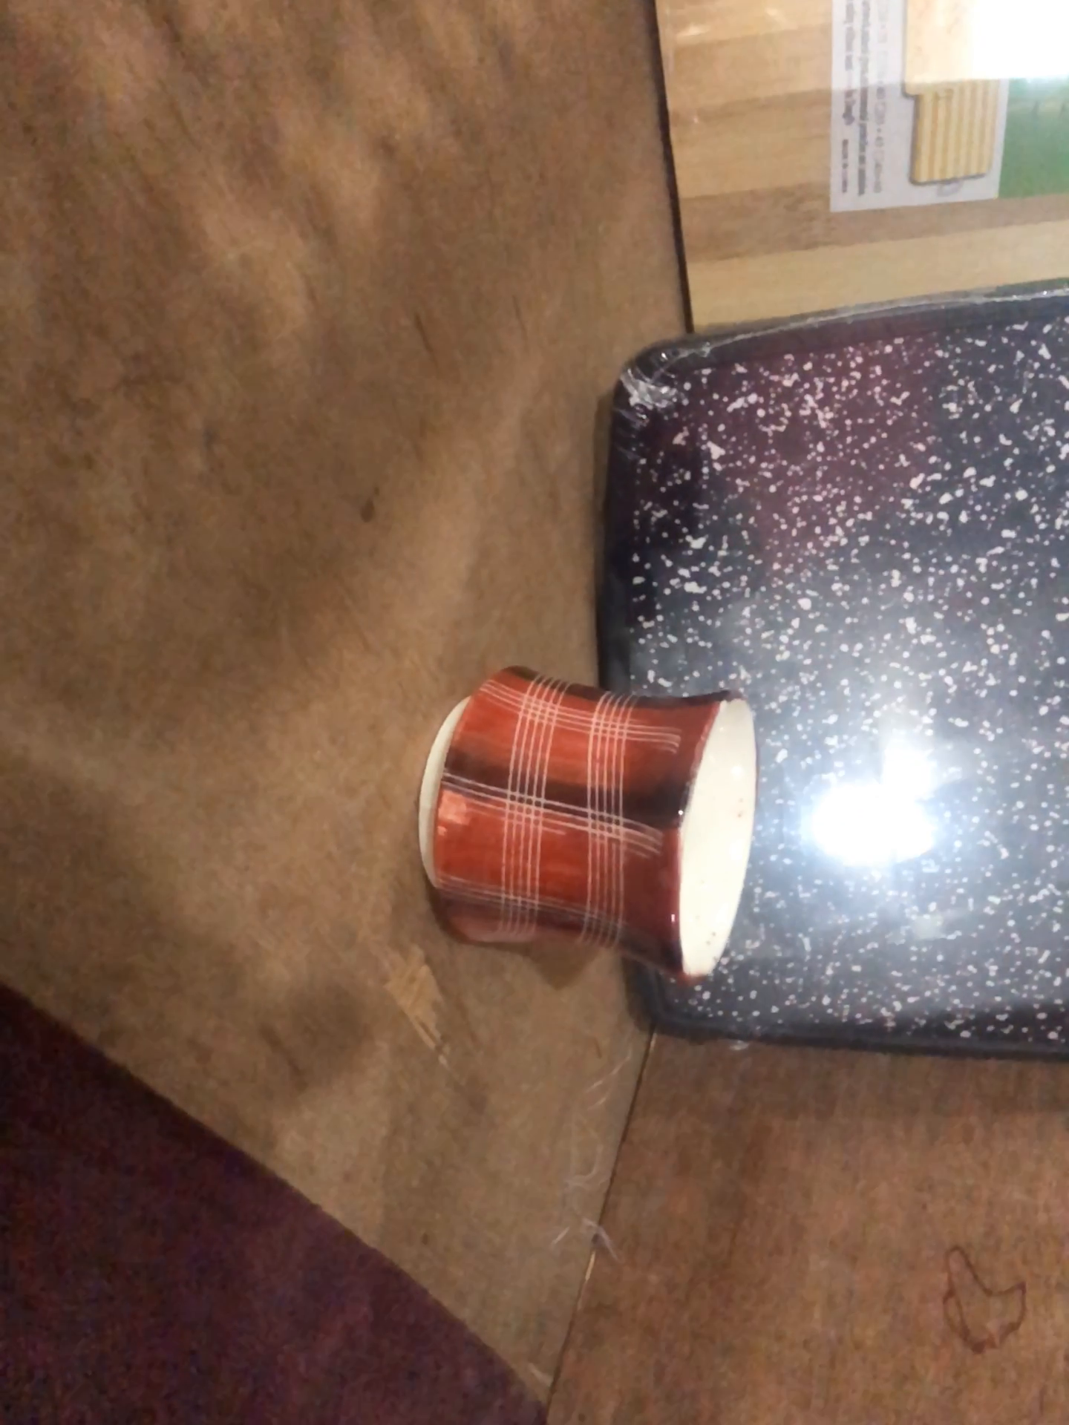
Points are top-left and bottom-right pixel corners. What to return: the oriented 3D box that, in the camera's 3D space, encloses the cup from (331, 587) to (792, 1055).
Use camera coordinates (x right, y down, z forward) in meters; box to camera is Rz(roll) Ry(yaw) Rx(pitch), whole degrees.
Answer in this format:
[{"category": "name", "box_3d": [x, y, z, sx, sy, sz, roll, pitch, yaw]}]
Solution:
[{"category": "cup", "box_3d": [0.013, 0.026, 0.254, 0.091, 0.060, 0.060, 57, 45, -55]}]
